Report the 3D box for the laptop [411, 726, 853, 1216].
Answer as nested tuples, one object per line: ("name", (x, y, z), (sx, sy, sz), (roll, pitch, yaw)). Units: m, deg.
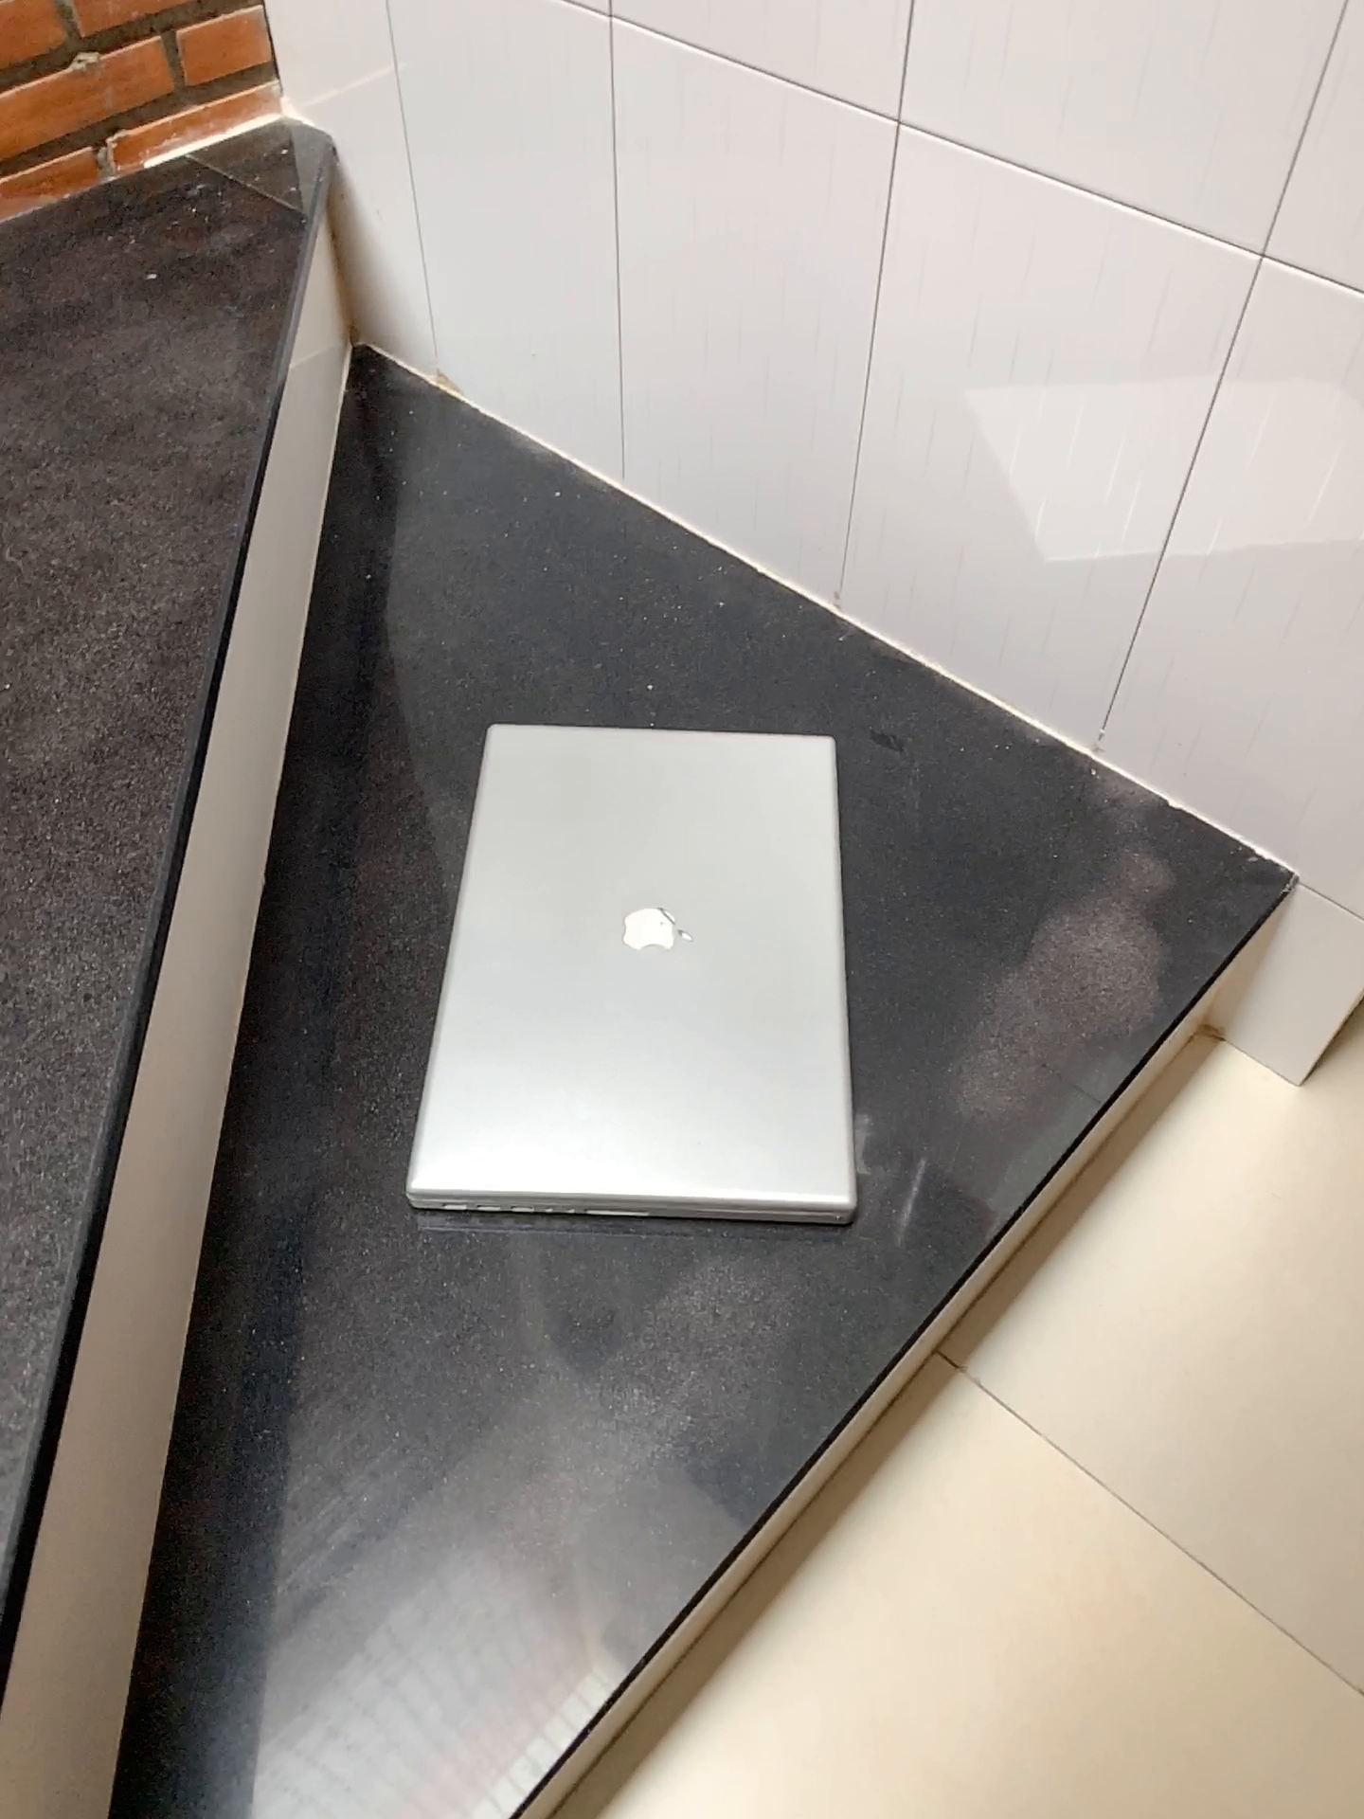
("laptop", (-0.023, 0.024, 1.063), (0.291, 0.013, 0.442), (4, 51, -2))
